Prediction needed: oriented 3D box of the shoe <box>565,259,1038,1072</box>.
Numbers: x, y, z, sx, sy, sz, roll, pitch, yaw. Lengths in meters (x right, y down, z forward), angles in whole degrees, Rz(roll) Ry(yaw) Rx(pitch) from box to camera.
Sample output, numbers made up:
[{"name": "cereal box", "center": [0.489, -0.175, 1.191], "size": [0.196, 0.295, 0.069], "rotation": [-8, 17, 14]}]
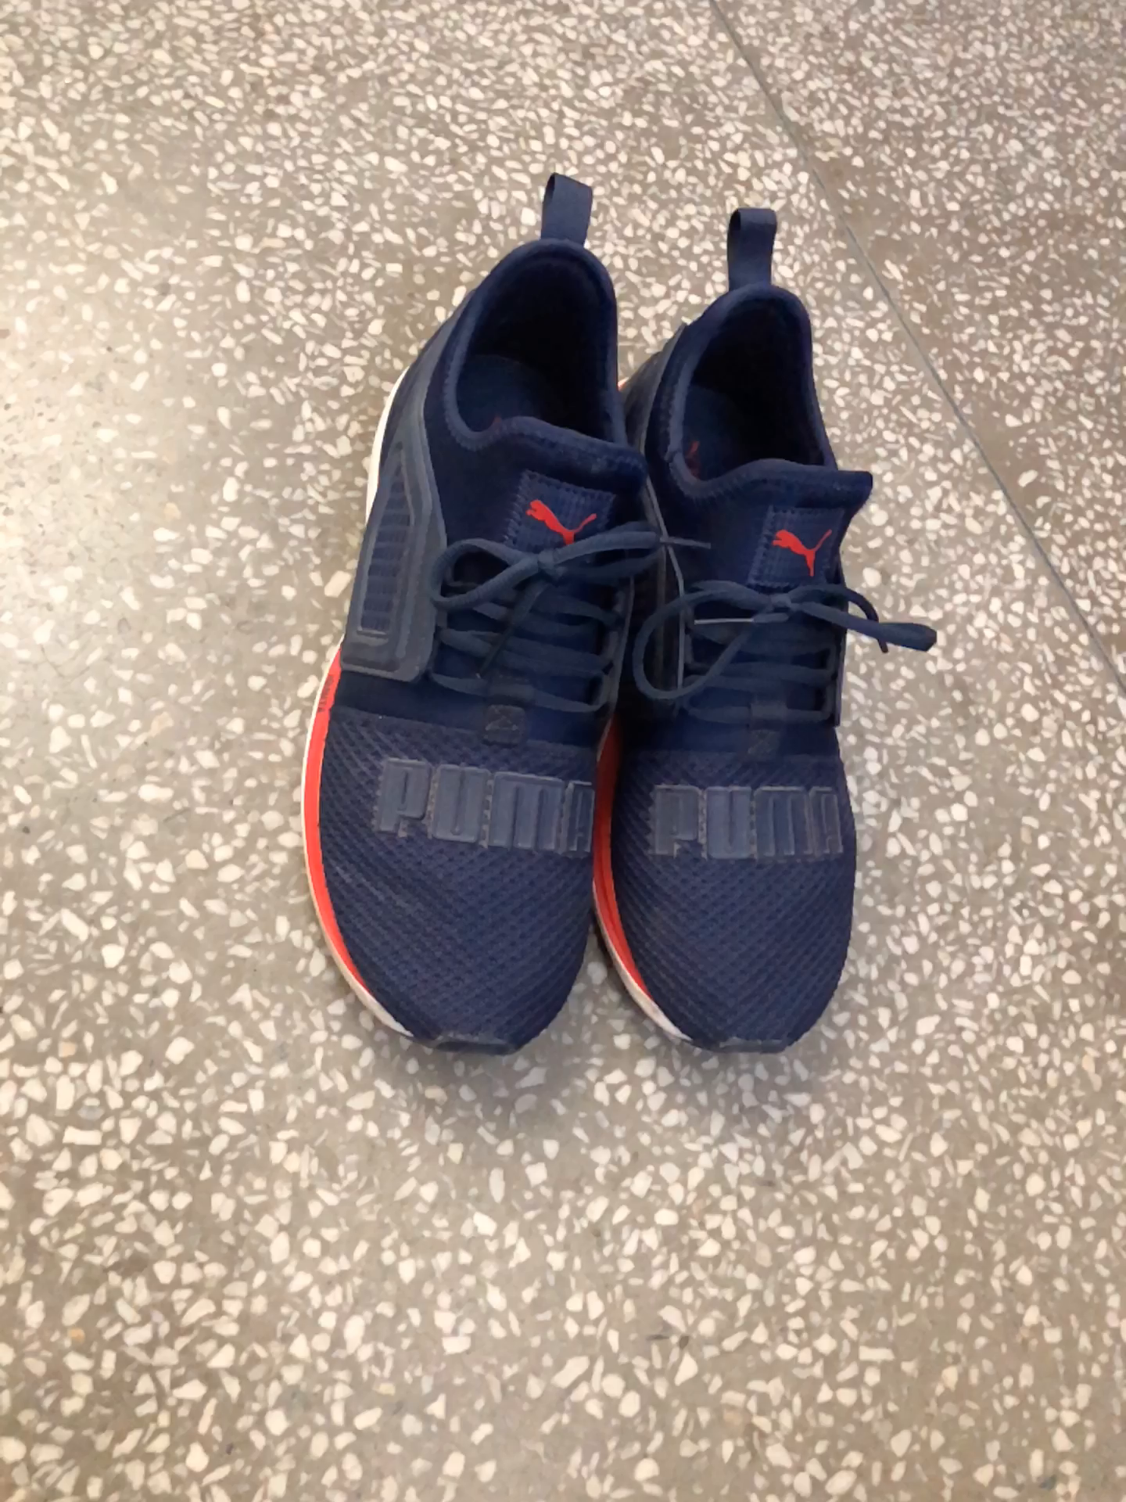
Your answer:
[{"name": "shoe", "center": [0.070, -0.024, 0.447], "size": [0.107, 0.113, 0.258], "rotation": [5, 69, -16]}]

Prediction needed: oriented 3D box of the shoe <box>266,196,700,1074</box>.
[{"name": "shoe", "center": [-0.025, -0.033, 0.421], "size": [0.107, 0.113, 0.258], "rotation": [8, 68, -15]}]
